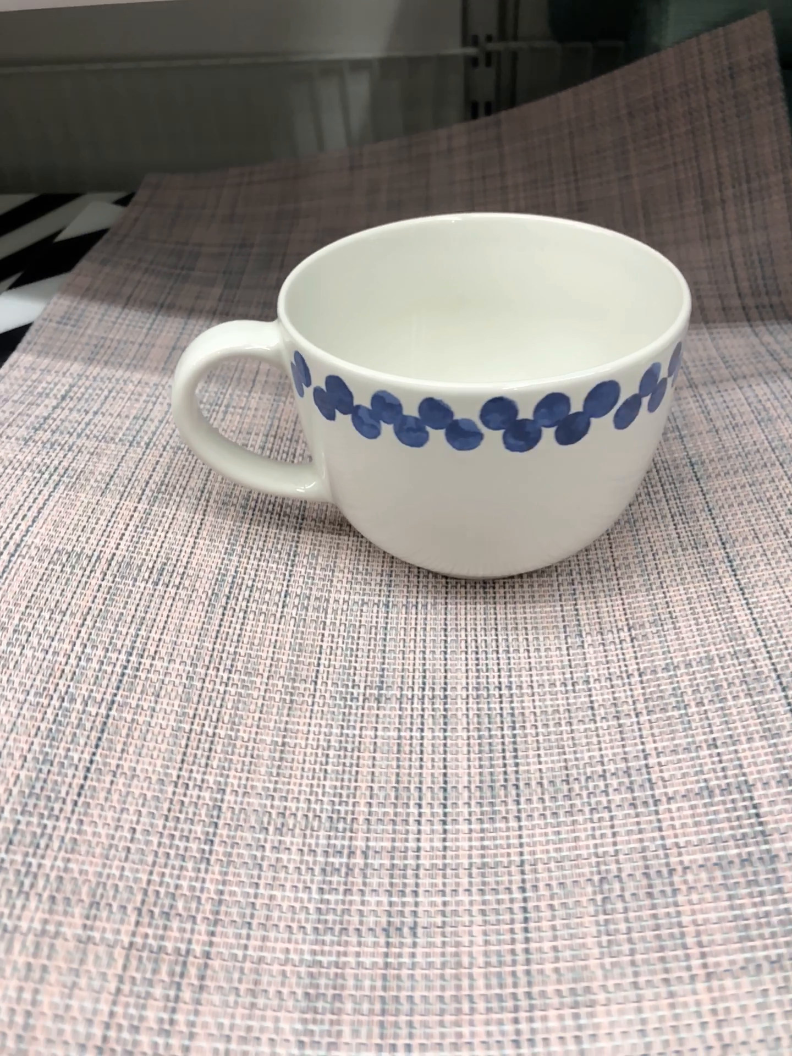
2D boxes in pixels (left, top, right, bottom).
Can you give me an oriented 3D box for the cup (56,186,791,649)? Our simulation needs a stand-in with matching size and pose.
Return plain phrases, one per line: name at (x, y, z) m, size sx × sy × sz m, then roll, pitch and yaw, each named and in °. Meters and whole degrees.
cup at (0.009, -0.036, 0.231) m, size 0.150 × 0.060 × 0.110 m, roll -4°, pitch 38°, yaw -1°
